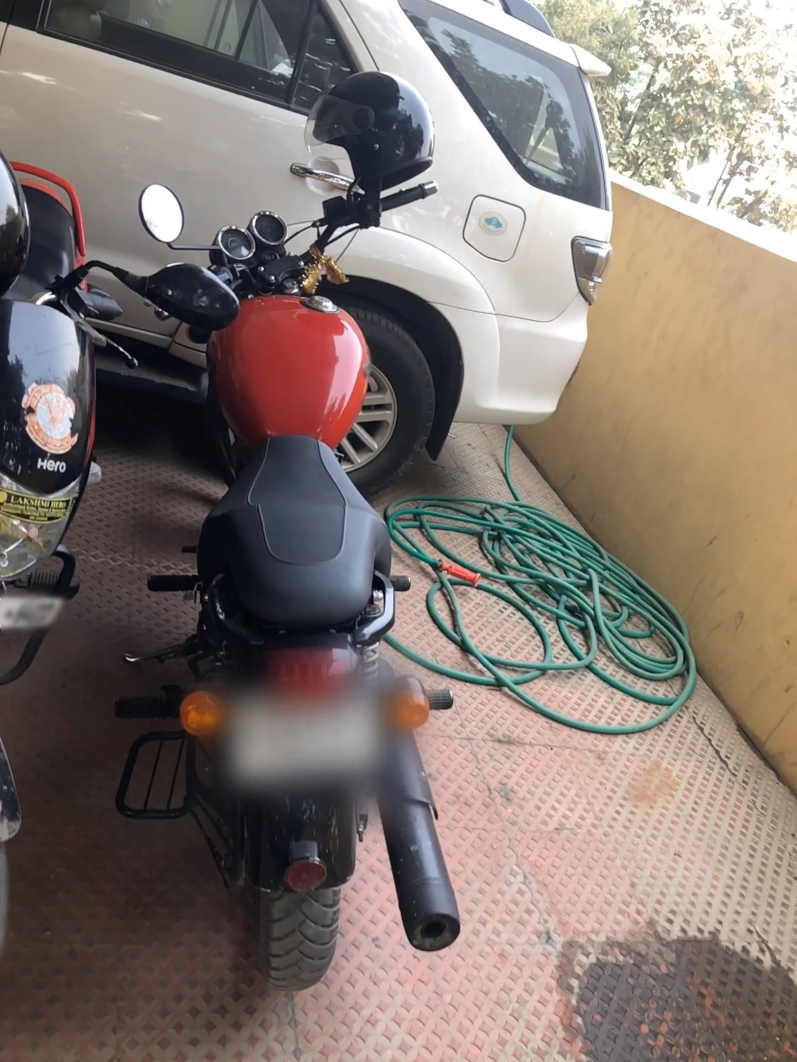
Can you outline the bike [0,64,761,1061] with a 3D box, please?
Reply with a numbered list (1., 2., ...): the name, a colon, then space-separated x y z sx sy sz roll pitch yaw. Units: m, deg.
1. bike: -0.367 -0.102 1.839 0.821 1.271 1.719 12 27 -20
